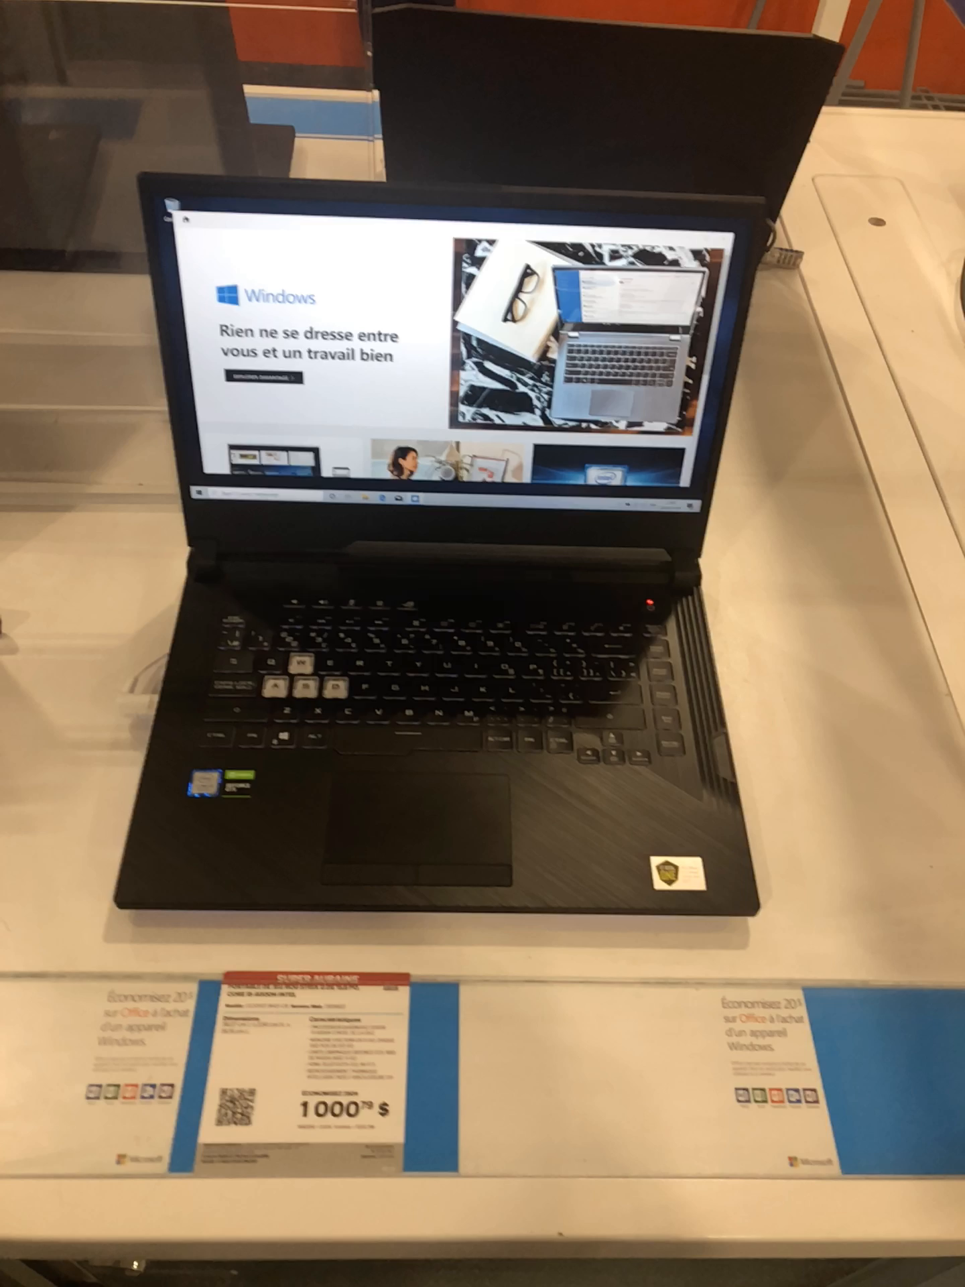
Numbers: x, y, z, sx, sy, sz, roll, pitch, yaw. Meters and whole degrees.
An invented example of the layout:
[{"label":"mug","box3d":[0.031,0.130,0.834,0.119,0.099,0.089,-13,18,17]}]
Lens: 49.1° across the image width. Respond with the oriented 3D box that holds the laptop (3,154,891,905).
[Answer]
[{"label":"laptop","box3d":[-0.016,-0.070,0.619,0.363,0.236,0.345,1,54,-2]}]
